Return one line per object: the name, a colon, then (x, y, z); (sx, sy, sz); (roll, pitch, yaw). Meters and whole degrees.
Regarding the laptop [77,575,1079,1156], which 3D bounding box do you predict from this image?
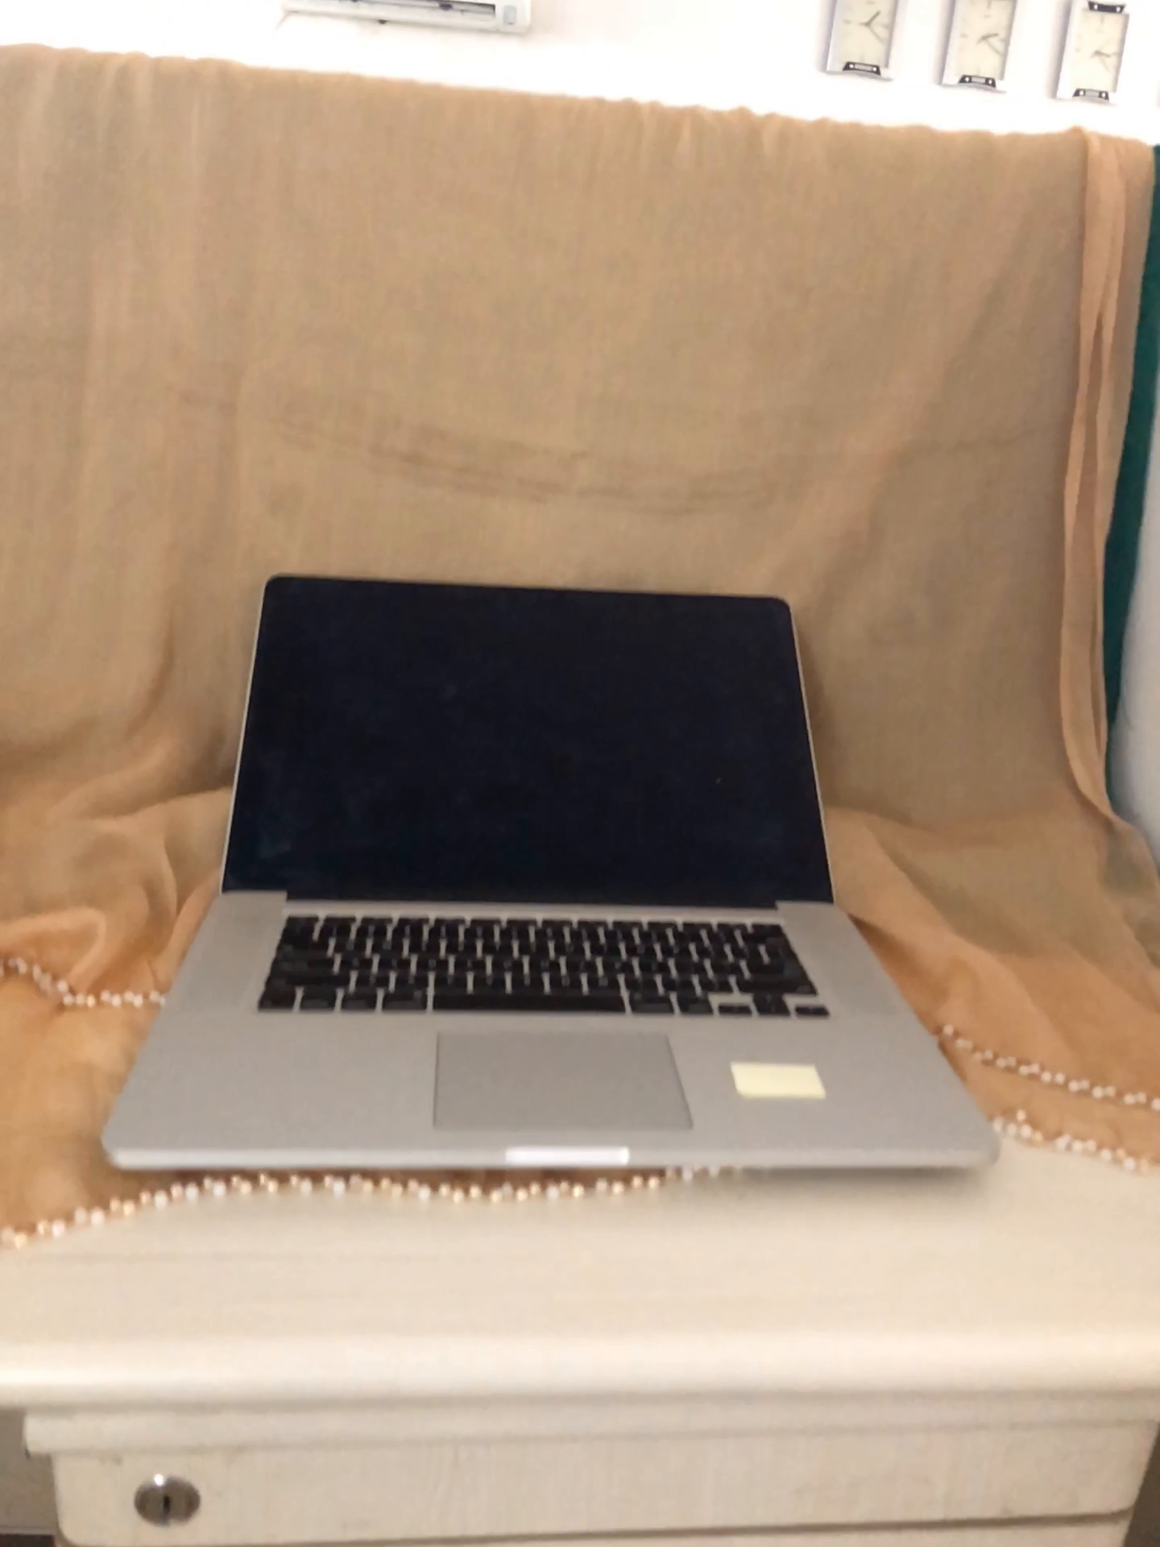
laptop: (-0.015, 0.011, 0.636); (0.336, 0.135, 0.407); (2, 19, -6)
